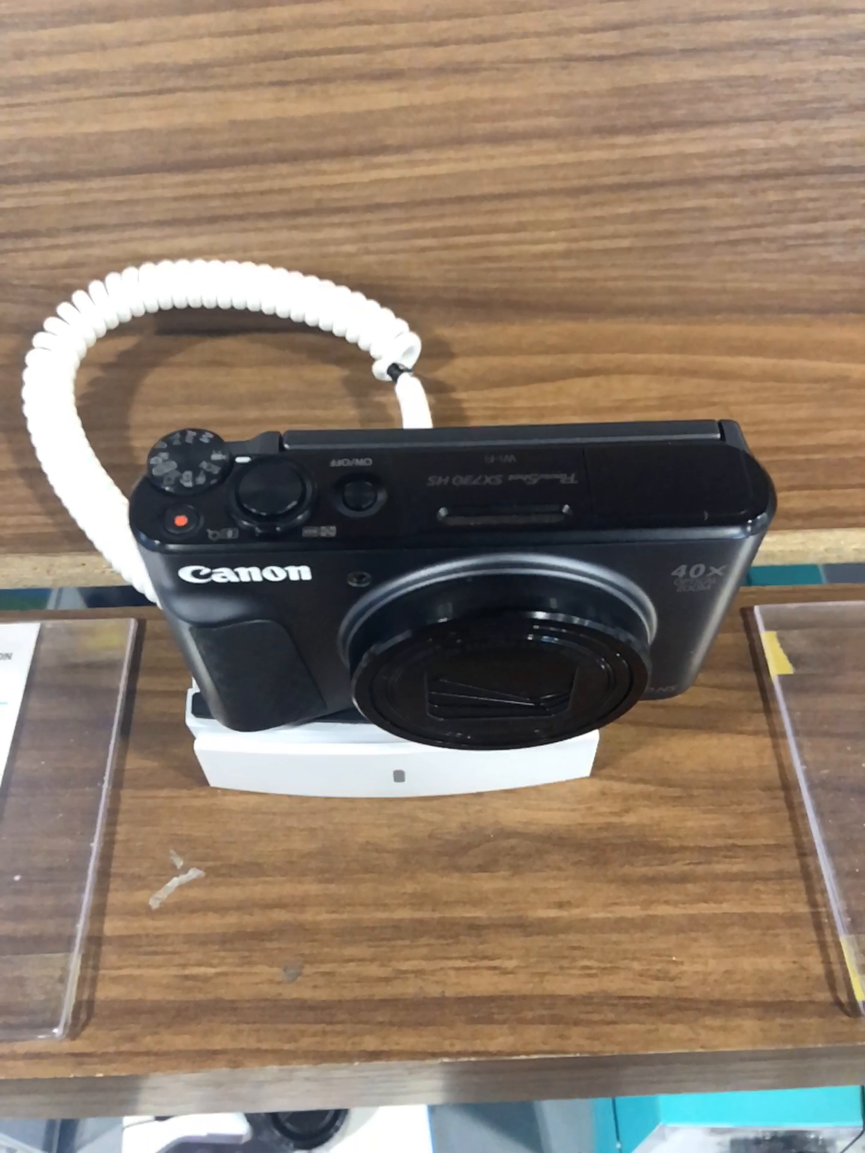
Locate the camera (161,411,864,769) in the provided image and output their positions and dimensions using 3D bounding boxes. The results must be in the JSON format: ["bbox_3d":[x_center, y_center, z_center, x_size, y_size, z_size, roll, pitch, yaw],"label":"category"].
[{"bbox_3d":[0.013,0.005,0.181,0.109,0.063,0.037,-1,56,-1],"label":"camera"}]
